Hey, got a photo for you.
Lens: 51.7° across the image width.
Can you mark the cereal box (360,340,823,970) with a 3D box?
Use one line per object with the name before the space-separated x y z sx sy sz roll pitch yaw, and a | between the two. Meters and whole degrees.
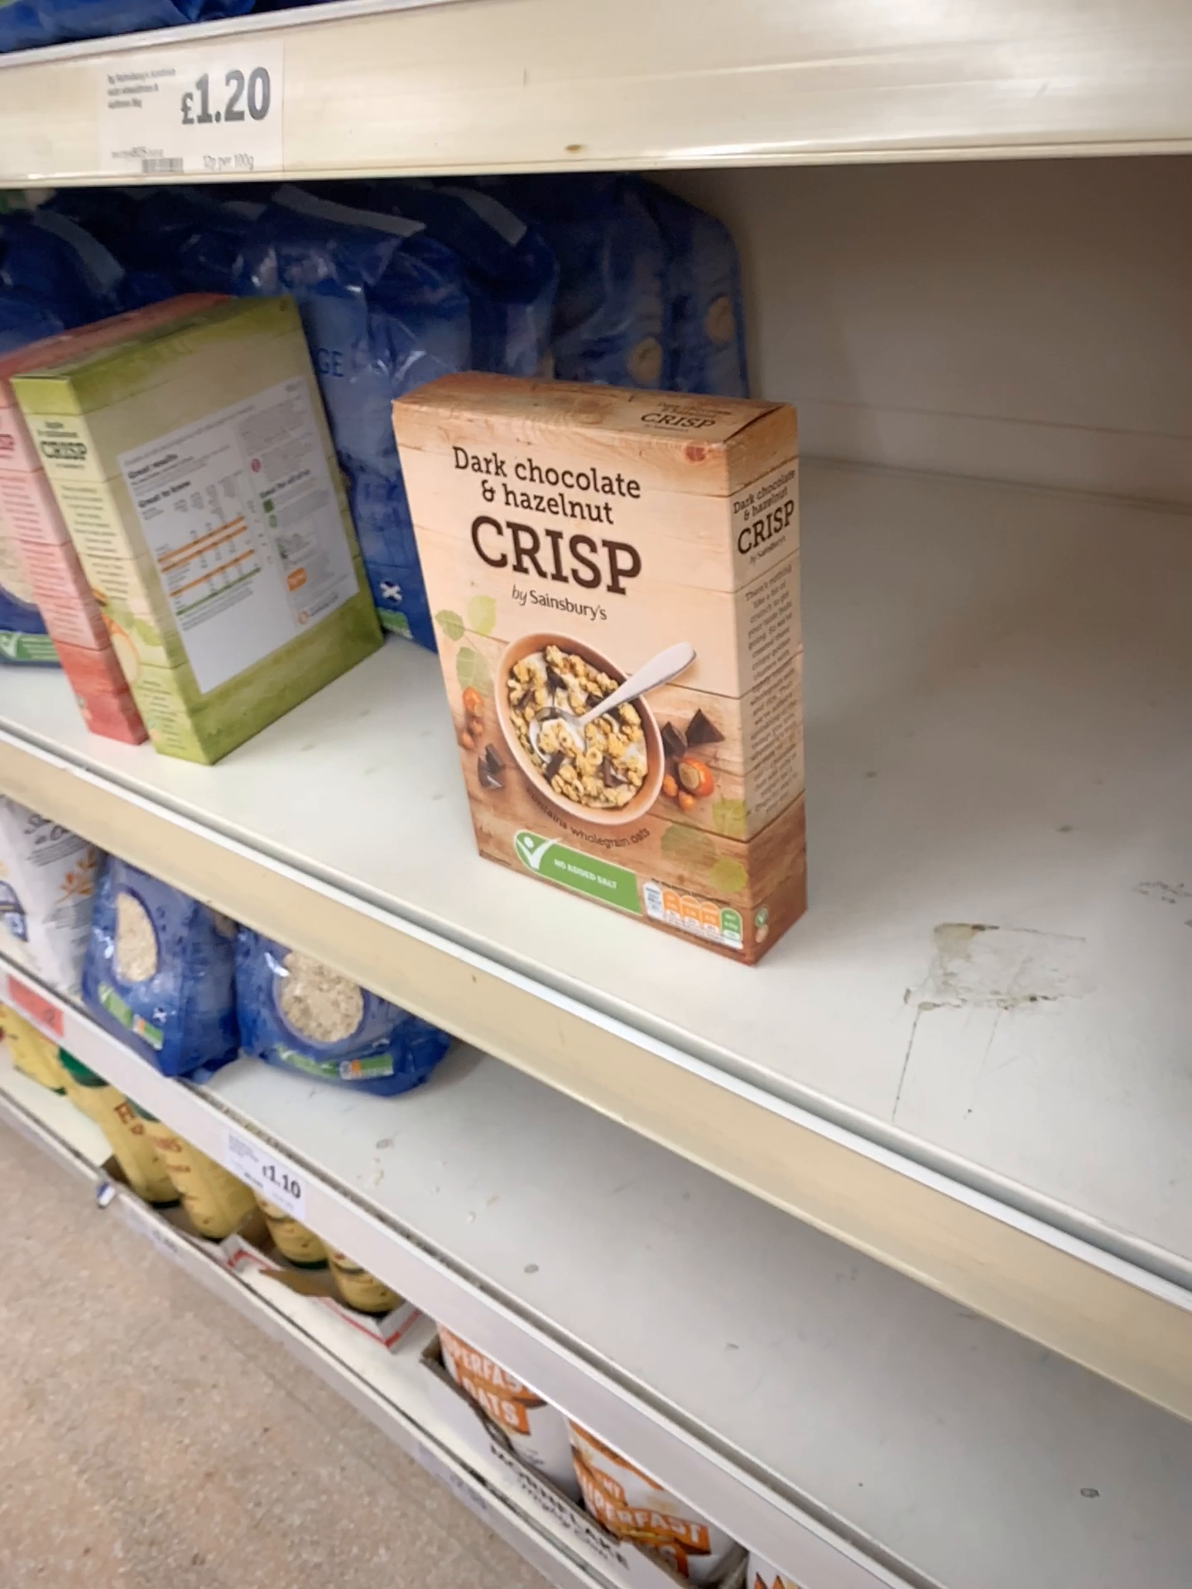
cereal box | 0.003 -0.066 0.561 0.191 0.248 0.060 19 40 35
